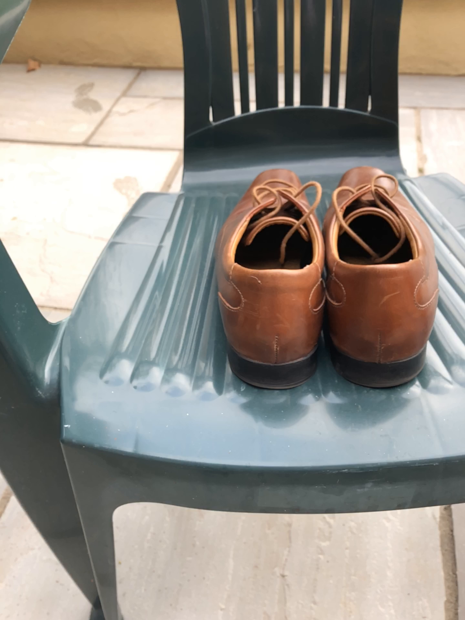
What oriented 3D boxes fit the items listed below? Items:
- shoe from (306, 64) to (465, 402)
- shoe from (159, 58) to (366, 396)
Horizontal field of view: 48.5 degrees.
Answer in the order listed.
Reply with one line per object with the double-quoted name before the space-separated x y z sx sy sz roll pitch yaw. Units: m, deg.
"shoe" 0.122 -0.081 0.409 0.110 0.109 0.282 3 47 8
"shoe" 0.031 -0.087 0.414 0.110 0.109 0.292 1 47 6
